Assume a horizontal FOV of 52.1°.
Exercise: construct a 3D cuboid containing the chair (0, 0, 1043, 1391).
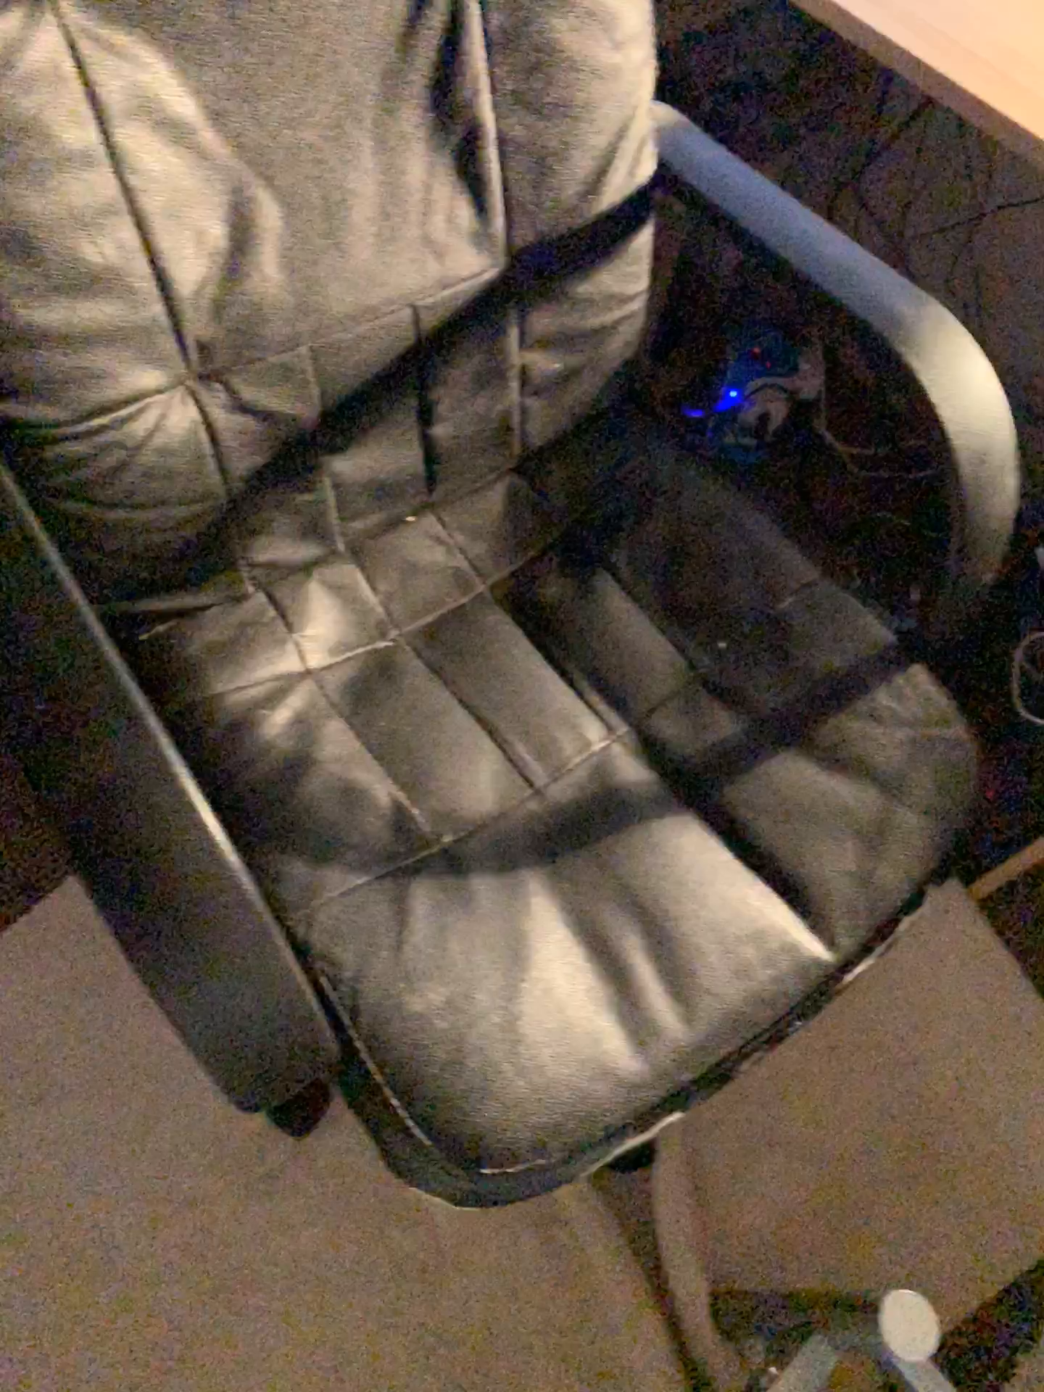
[{"bbox_3d":[0.027,-0.041,0.761,0.712,1.163,0.652,-34,66,-21],"label":"chair"}]
